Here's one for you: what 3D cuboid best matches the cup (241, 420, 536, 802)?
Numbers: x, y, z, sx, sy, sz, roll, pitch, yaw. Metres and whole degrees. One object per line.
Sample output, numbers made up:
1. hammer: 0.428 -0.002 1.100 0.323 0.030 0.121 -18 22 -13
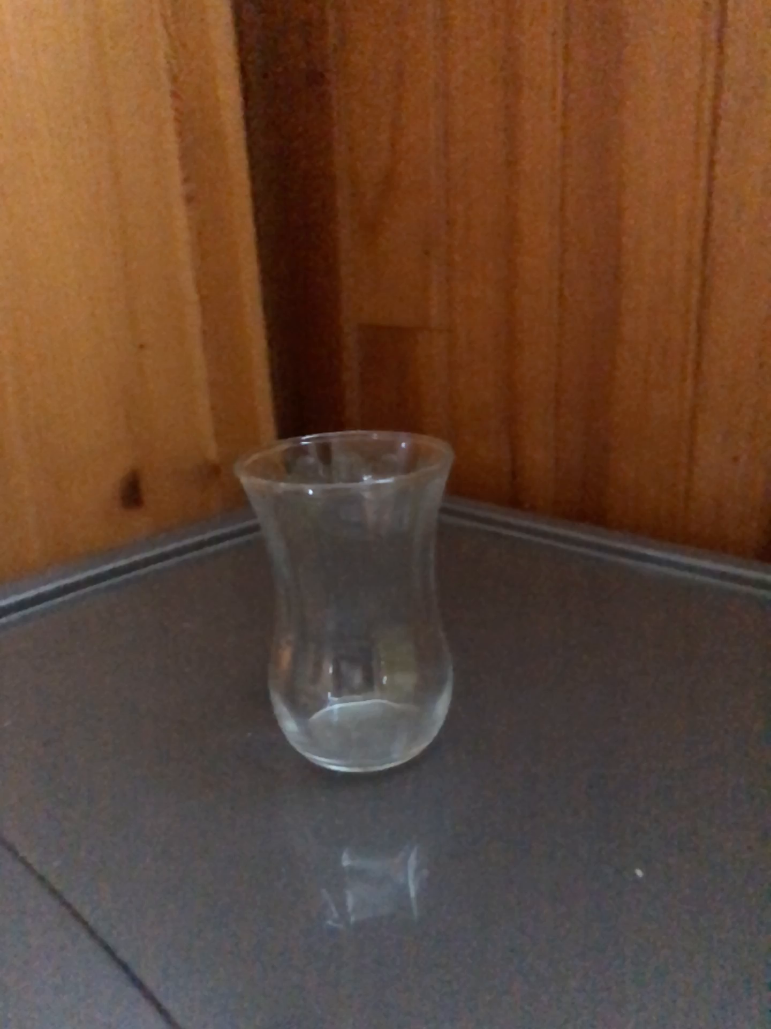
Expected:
1. cup: 0.005 0.021 0.233 0.060 0.080 0.060 -2 18 1
